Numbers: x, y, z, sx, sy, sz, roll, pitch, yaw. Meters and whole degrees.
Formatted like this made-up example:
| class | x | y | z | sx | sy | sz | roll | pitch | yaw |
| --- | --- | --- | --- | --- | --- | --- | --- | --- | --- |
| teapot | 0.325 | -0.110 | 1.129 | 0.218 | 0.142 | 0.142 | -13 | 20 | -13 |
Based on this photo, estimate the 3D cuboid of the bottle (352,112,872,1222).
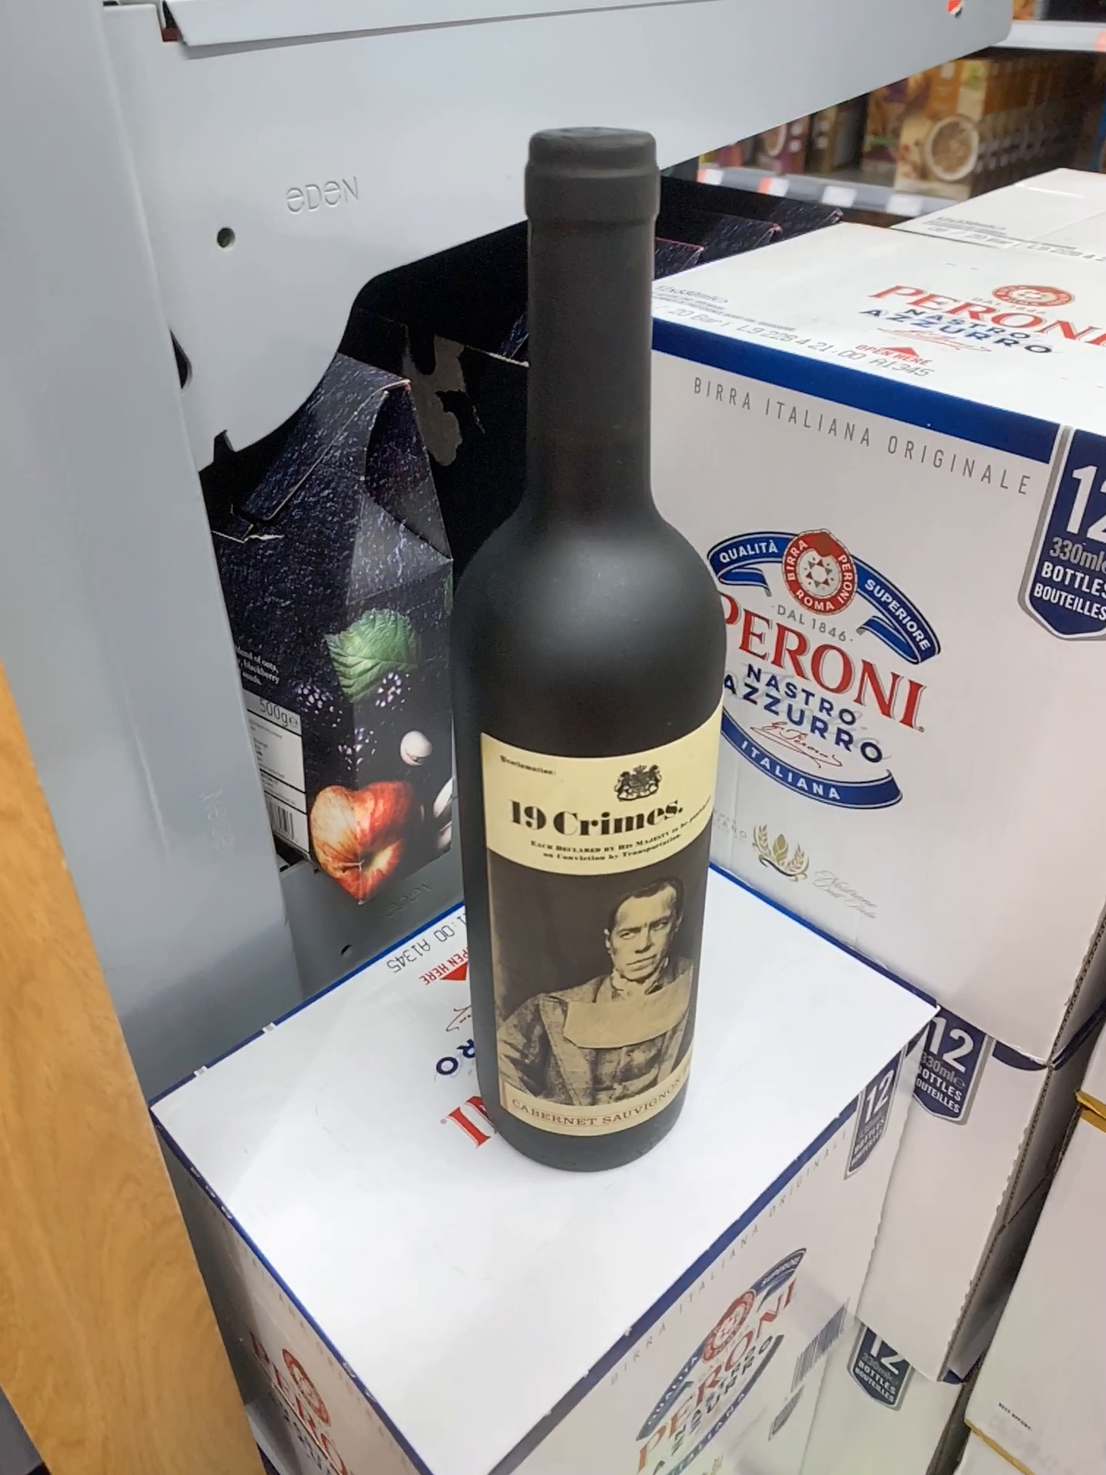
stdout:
| class | x | y | z | sx | sy | sz | roll | pitch | yaw |
| --- | --- | --- | --- | --- | --- | --- | --- | --- | --- |
| bottle | 0.010 | 0.001 | 0.307 | 0.078 | 0.288 | 0.075 | -1 | 35 | 1 |
